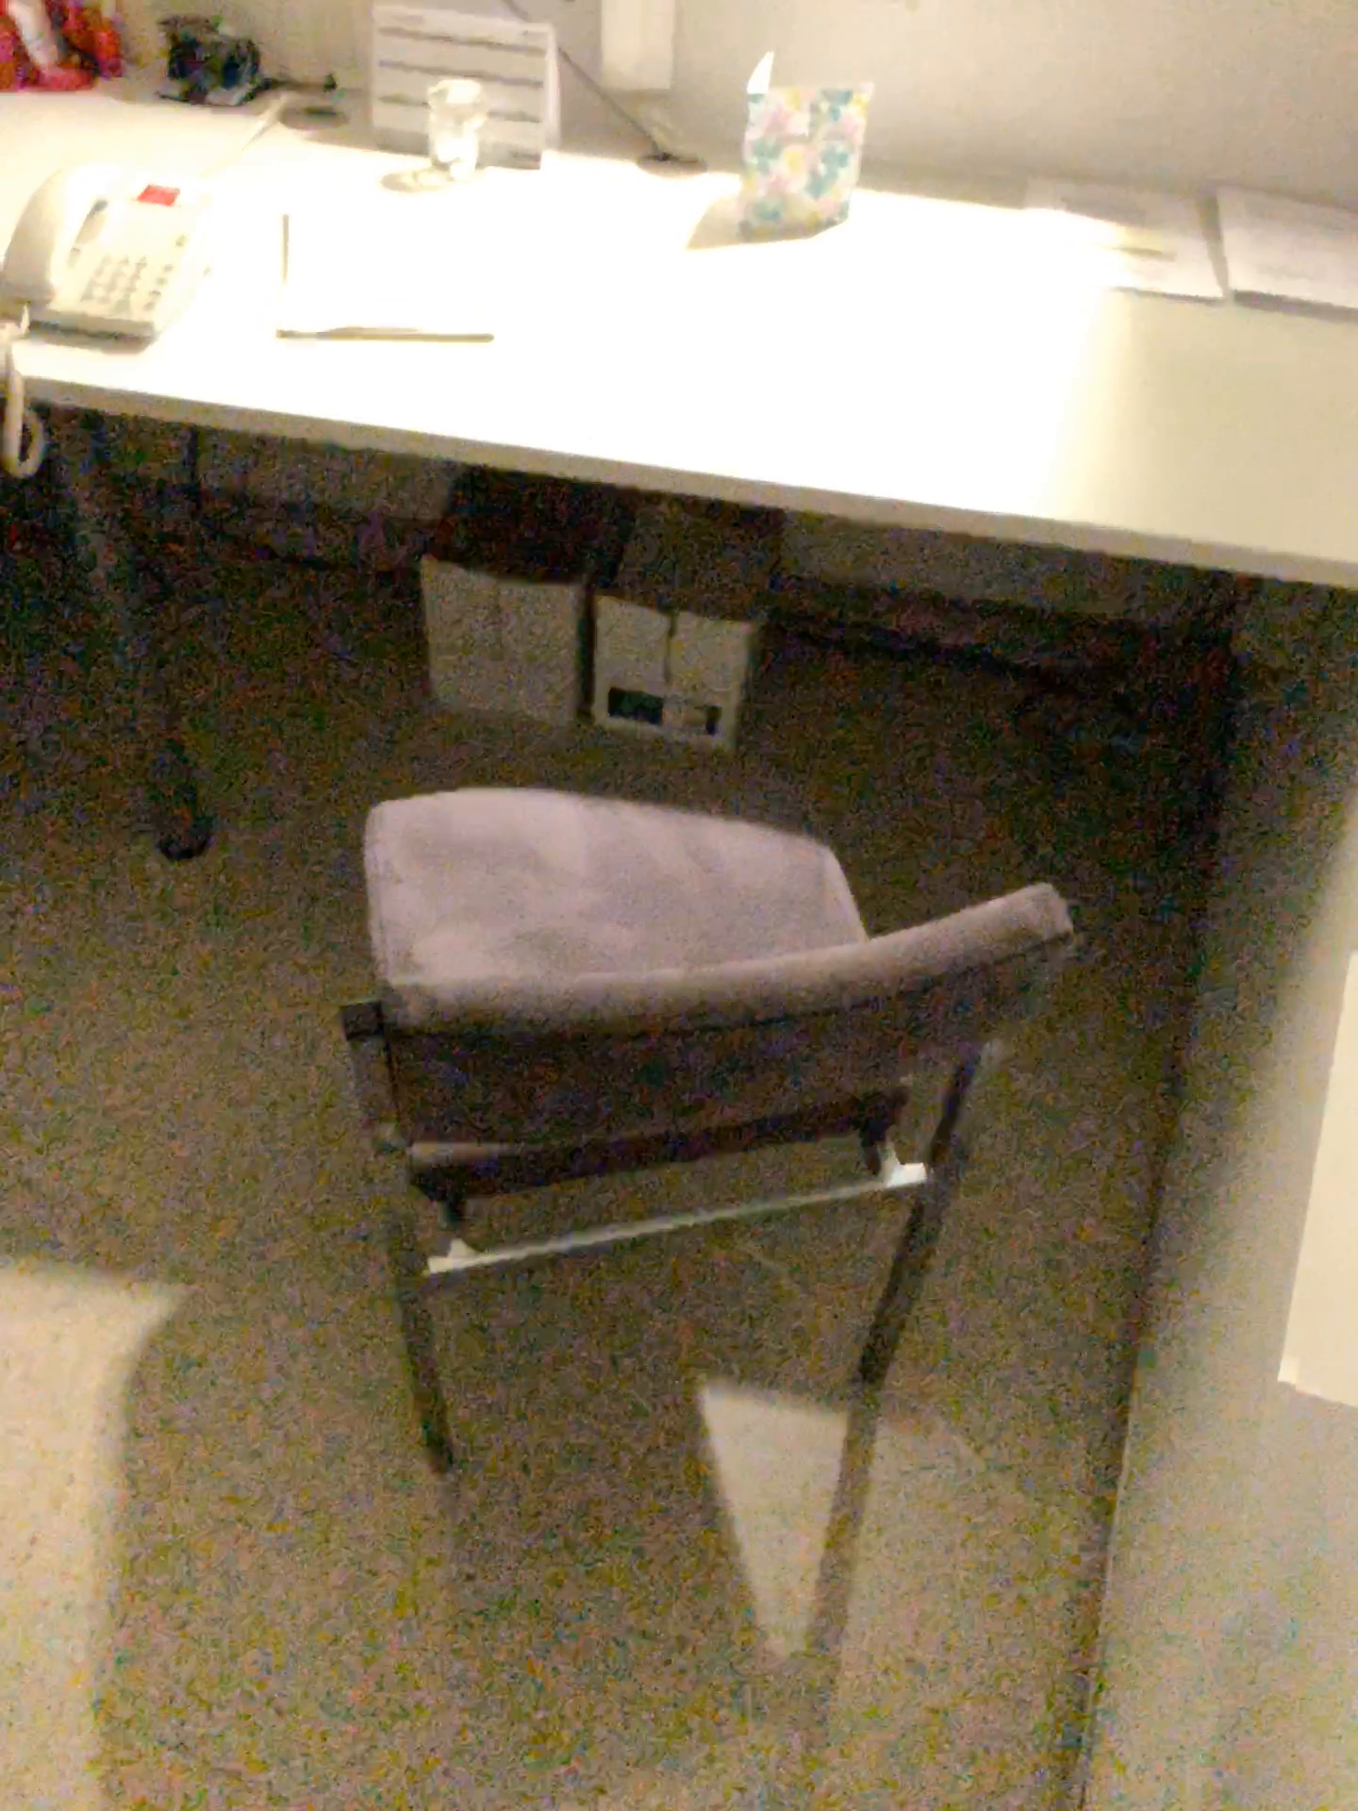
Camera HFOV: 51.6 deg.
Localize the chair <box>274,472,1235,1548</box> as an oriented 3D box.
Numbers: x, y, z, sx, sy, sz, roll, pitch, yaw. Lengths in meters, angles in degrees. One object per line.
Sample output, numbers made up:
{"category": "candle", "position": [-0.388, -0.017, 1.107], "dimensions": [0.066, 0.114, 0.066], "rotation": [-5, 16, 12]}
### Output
{"category": "chair", "position": [-0.018, 0.096, 1.203], "dimensions": [0.540, 0.694, 0.544], "rotation": [-6, 47, -11]}
